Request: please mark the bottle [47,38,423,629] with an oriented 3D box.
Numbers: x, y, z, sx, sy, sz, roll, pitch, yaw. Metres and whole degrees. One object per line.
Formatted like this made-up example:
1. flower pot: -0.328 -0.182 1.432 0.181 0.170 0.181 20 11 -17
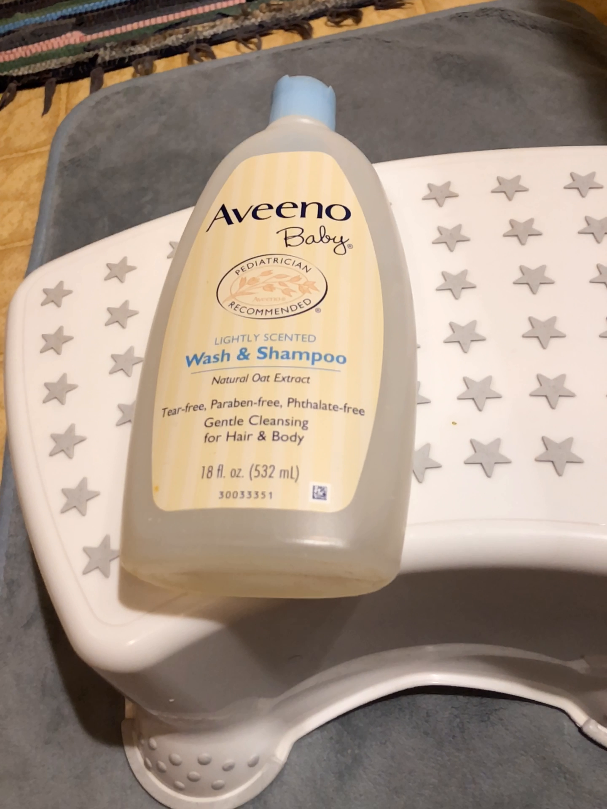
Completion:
1. bottle: -0.008 -0.046 0.253 0.100 0.040 0.240 -1 58 10
